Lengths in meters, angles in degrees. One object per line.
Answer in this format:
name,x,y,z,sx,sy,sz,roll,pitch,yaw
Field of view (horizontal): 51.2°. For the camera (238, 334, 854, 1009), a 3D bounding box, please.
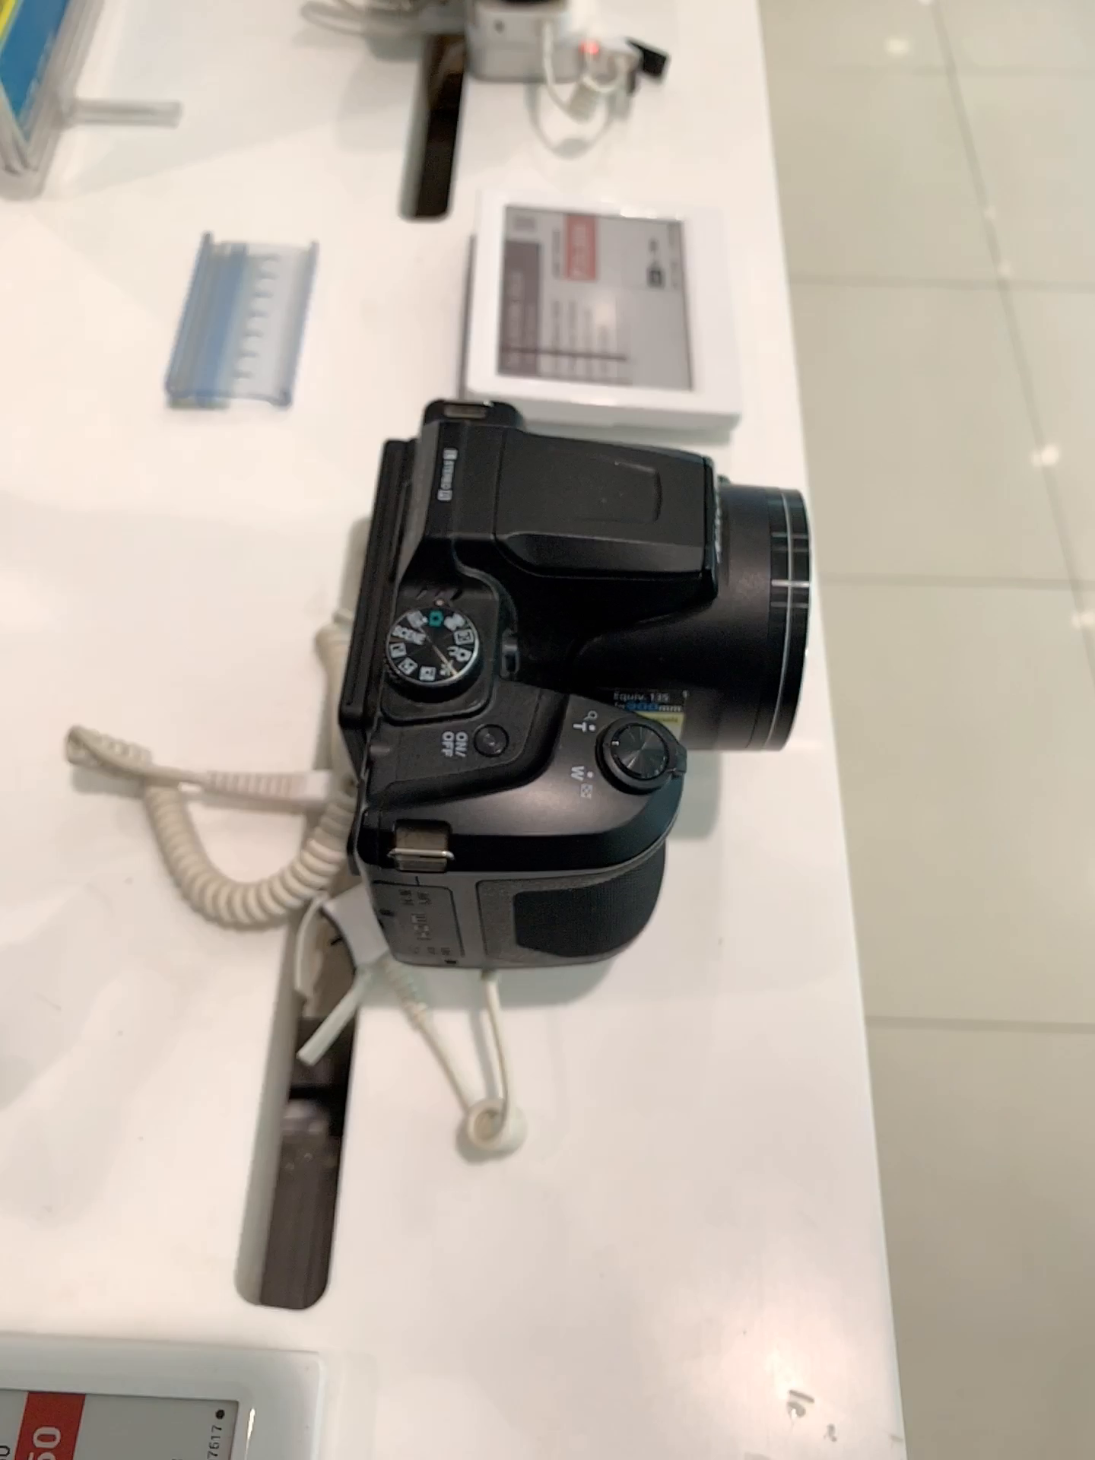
camera,0.002,-0.012,0.250,0.100,0.080,0.120,2,60,1
